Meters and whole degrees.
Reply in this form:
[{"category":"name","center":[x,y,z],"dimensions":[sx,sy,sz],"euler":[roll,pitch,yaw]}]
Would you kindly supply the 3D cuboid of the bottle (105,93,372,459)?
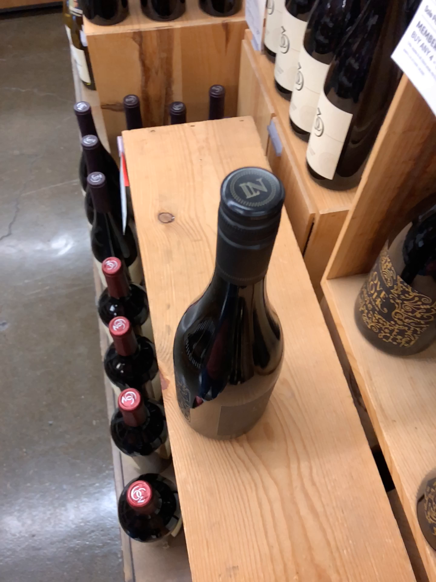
[{"category":"bottle","center":[0.009,0.024,0.335],"dimensions":[0.085,0.285,0.090],"euler":[1,60,-1]}]
